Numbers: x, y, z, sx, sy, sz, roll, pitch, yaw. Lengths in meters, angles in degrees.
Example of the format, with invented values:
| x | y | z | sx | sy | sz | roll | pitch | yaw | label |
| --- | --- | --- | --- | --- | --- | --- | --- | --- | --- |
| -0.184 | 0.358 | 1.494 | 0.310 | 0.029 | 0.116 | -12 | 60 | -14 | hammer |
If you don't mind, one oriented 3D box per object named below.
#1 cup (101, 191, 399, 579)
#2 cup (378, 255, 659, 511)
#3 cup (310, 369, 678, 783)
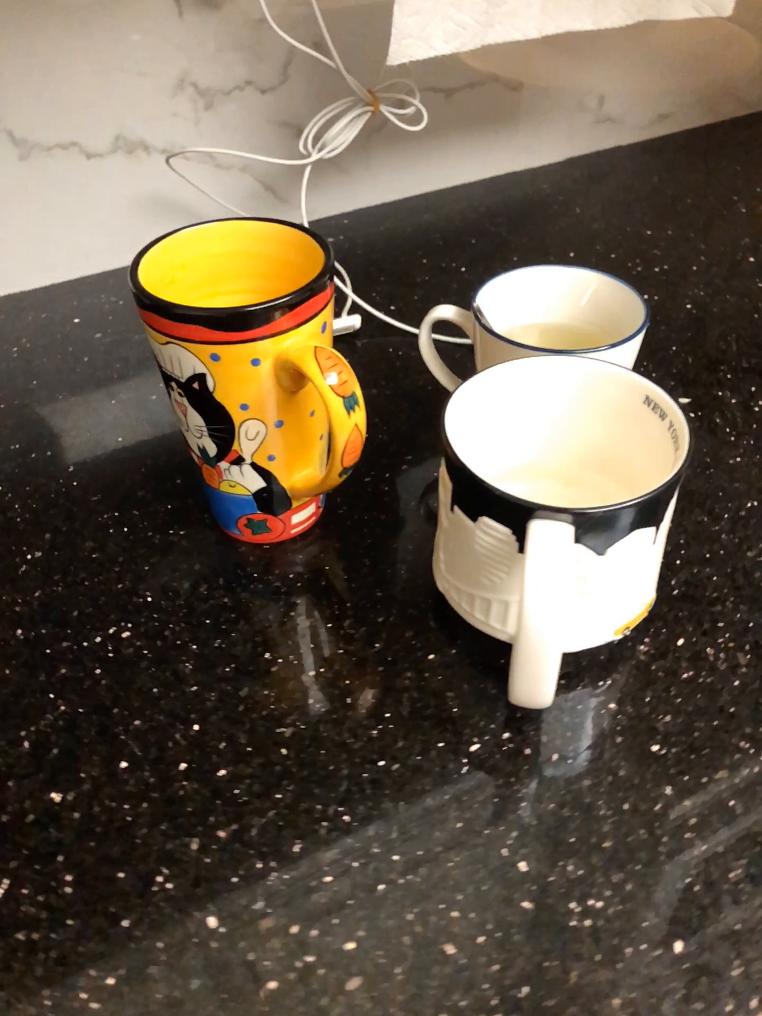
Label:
| x | y | z | sx | sy | sz | roll | pitch | yaw | label |
| --- | --- | --- | --- | --- | --- | --- | --- | --- | --- |
| -0.055 | -0.058 | 0.393 | 0.080 | 0.129 | 0.100 | -31 | 51 | -28 | cup |
| 0.071 | -0.070 | 0.448 | 0.120 | 0.080 | 0.080 | 17 | 46 | 19 | cup |
| 0.055 | 0.019 | 0.365 | 0.120 | 0.070 | 0.151 | 11 | 45 | 13 | cup |
